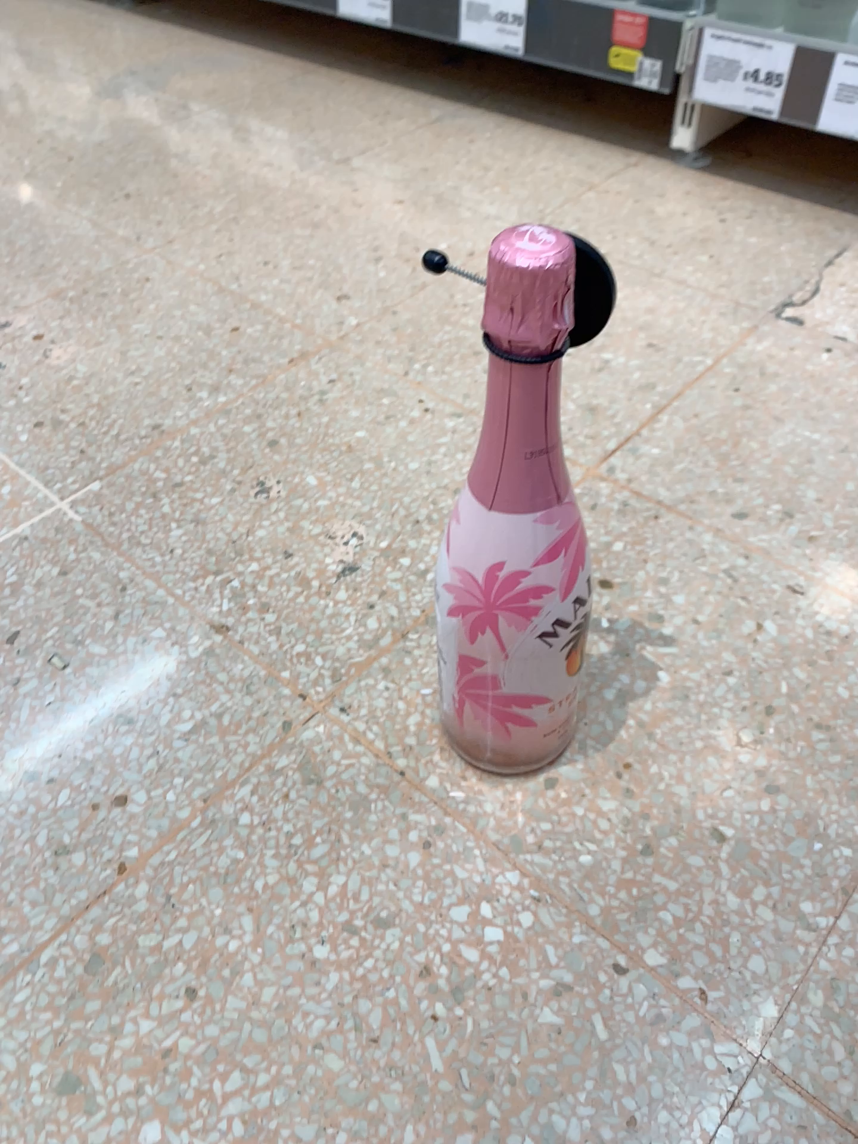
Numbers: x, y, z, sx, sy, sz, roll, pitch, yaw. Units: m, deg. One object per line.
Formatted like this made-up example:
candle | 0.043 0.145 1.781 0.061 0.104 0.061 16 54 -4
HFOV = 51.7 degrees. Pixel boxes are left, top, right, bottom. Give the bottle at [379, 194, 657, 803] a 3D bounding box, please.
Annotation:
bottle | 0.040 -0.011 0.439 0.080 0.307 0.081 -1 46 1
